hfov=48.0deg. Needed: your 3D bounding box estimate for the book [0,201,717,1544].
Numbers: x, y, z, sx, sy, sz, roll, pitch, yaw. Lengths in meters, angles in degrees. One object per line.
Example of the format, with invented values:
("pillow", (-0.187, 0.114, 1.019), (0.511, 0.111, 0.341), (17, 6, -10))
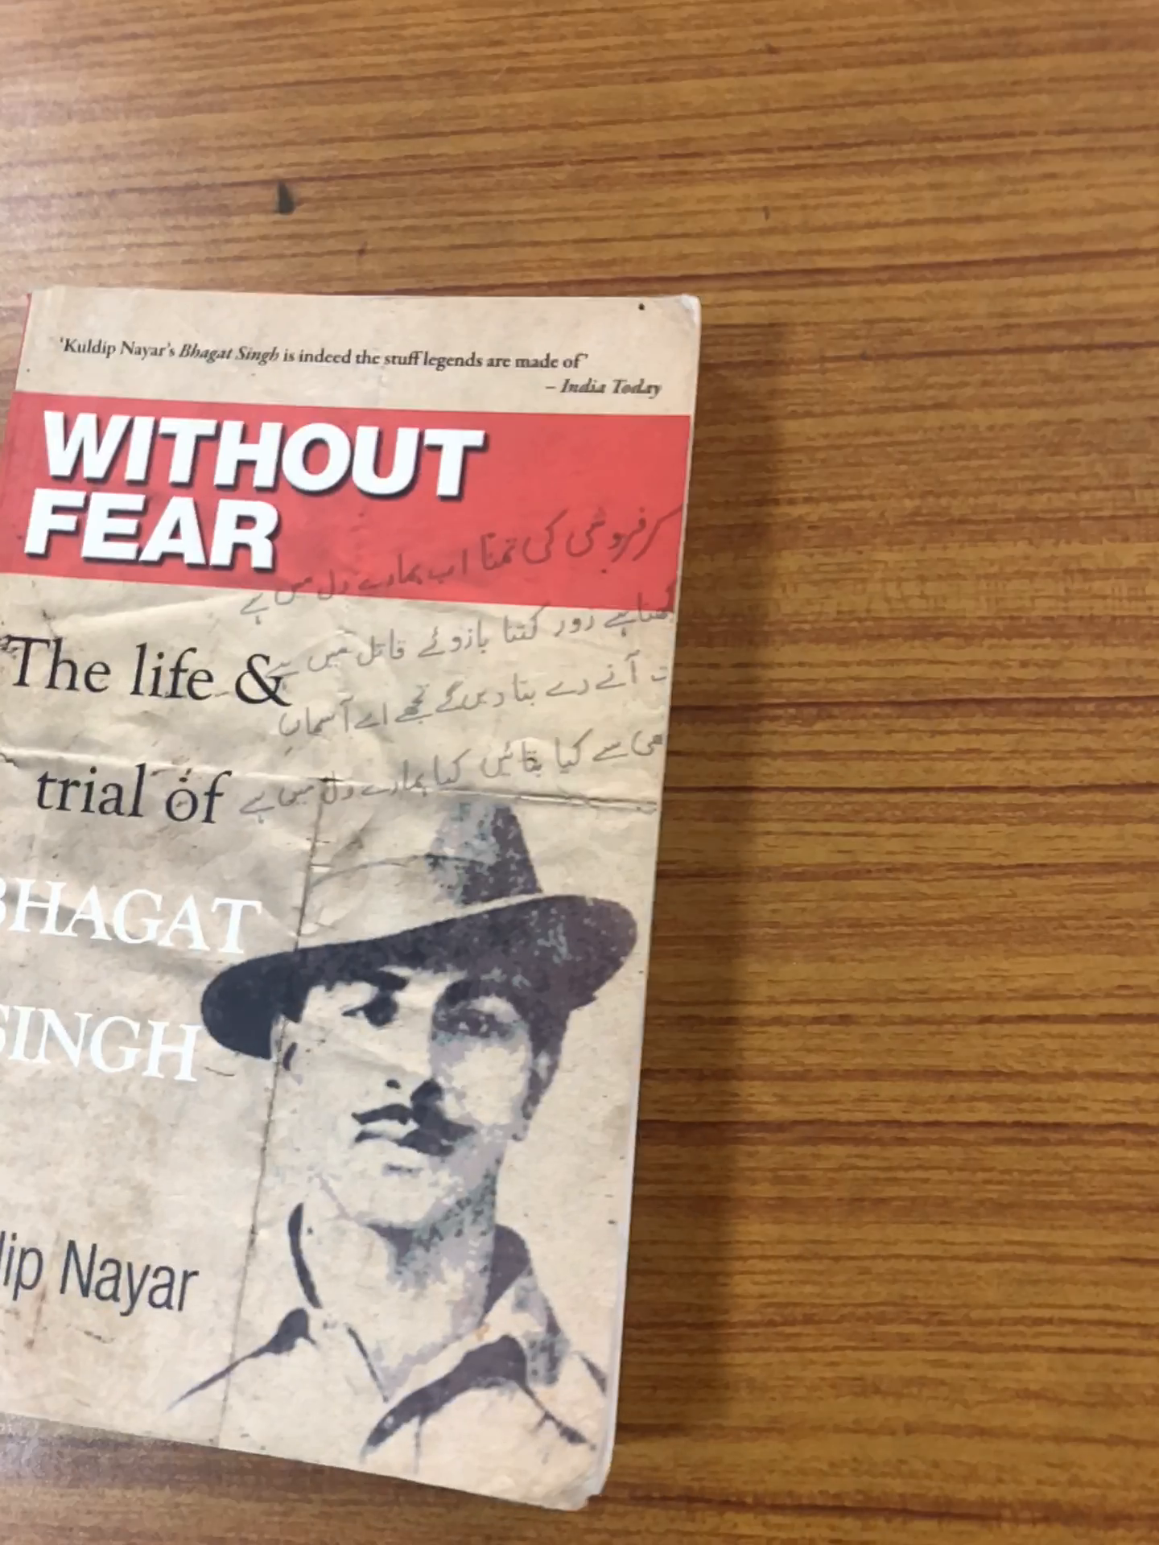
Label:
("book", (-0.055, 0.006, 0.224), (0.140, 0.030, 0.210), (4, 80, 8))
